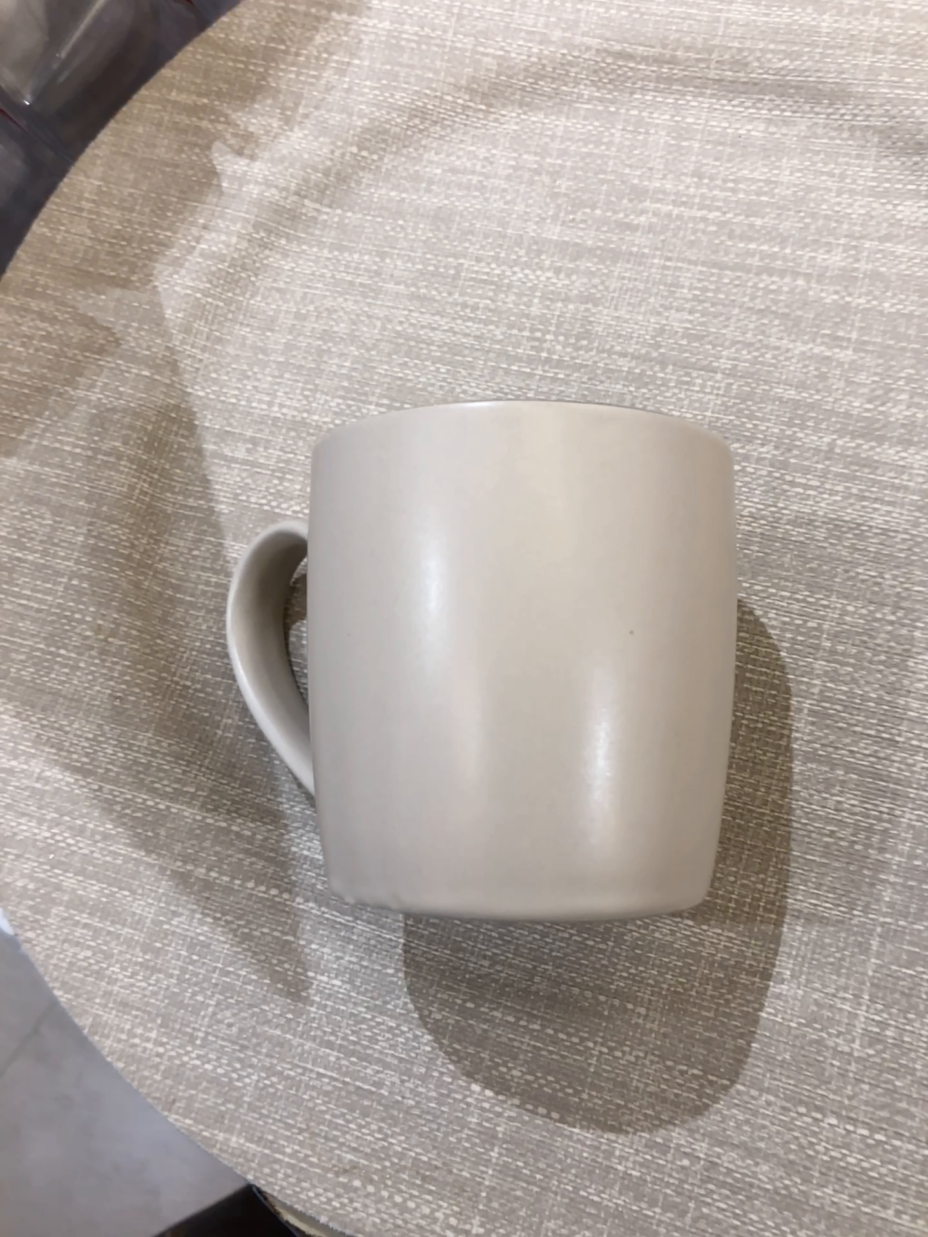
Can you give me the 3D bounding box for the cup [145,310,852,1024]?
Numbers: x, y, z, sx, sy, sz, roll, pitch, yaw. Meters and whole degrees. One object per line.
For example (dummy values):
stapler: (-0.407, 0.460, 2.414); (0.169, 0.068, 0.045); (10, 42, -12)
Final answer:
cup: (0.003, 0.013, 0.193); (0.100, 0.080, 0.090); (-9, 78, 46)
